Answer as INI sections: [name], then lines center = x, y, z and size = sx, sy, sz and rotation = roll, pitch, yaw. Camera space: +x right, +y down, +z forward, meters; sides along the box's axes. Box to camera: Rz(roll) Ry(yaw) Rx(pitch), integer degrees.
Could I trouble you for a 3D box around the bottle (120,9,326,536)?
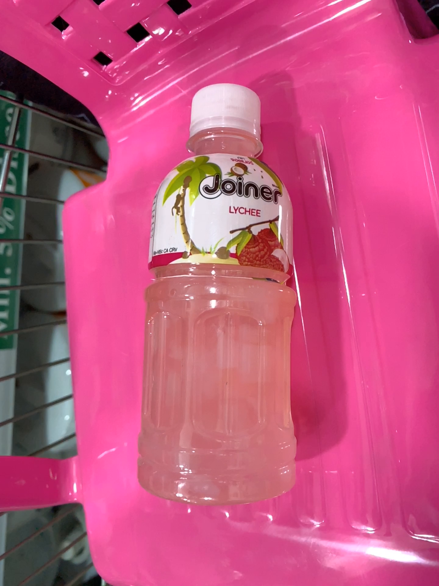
[bottle]
center = -0.003, -0.007, 0.187
size = 0.060, 0.060, 0.170
rotation = -10, 80, 63
